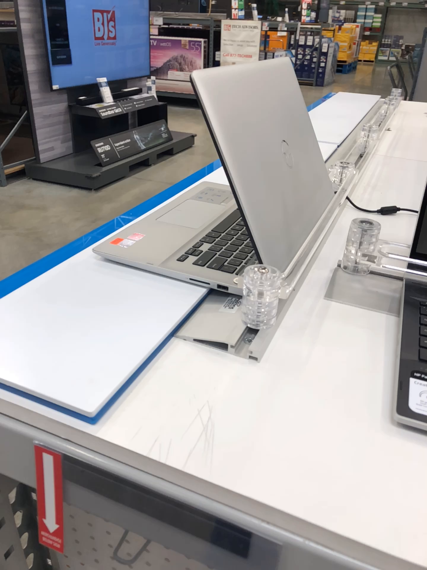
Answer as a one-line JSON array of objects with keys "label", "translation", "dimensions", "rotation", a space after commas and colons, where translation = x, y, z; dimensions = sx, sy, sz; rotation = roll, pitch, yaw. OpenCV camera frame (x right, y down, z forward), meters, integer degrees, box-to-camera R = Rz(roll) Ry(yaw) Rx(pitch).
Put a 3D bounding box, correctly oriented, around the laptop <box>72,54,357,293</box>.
[{"label": "laptop", "translation": [0.025, -0.173, 0.596], "dimensions": [0.222, 0.198, 0.320], "rotation": [14, 31, 20]}]
